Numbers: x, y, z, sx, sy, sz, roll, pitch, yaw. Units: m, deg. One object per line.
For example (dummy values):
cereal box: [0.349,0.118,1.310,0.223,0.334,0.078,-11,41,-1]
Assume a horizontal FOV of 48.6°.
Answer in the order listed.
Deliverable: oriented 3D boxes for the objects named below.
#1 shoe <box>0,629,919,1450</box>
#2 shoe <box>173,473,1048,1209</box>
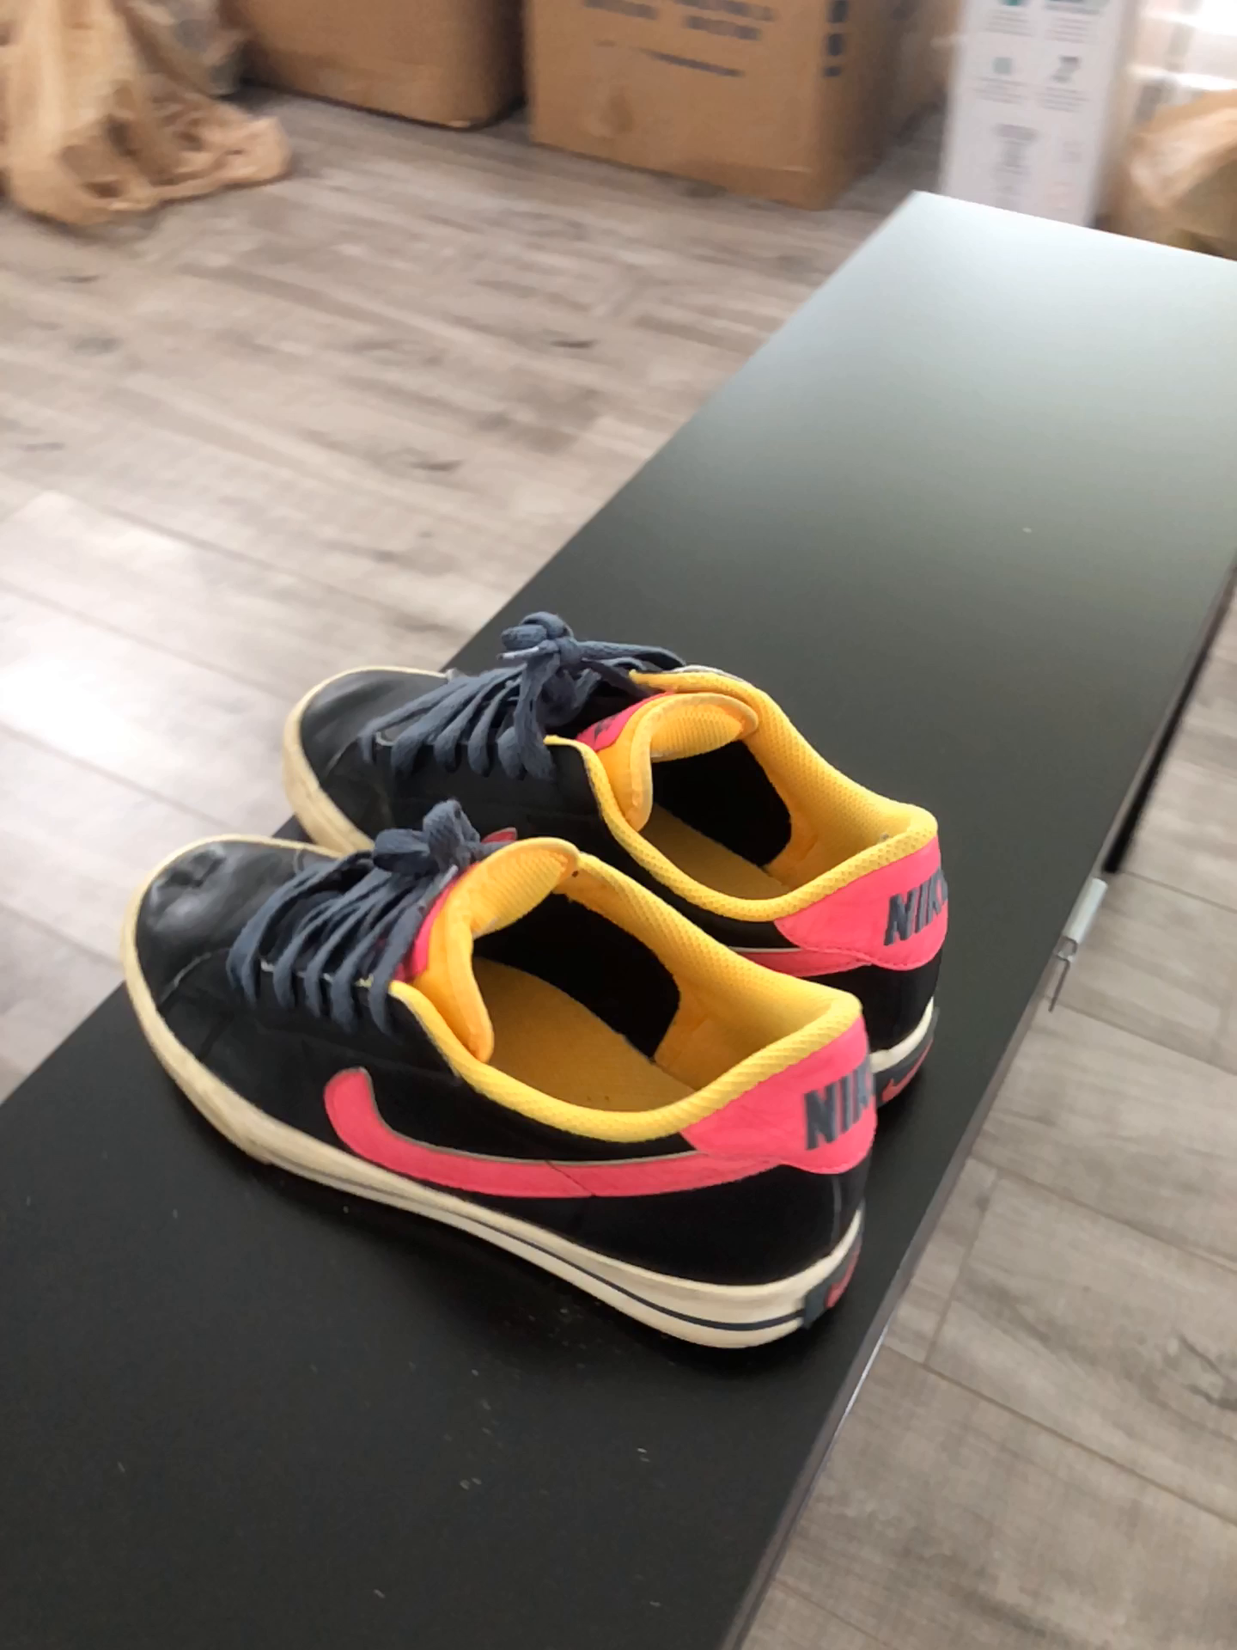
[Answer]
shoe: [-0.057,0.049,0.377,0.244,0.100,0.090,23,49,20]
shoe: [-0.011,-0.006,0.431,0.245,0.100,0.095,29,51,24]
